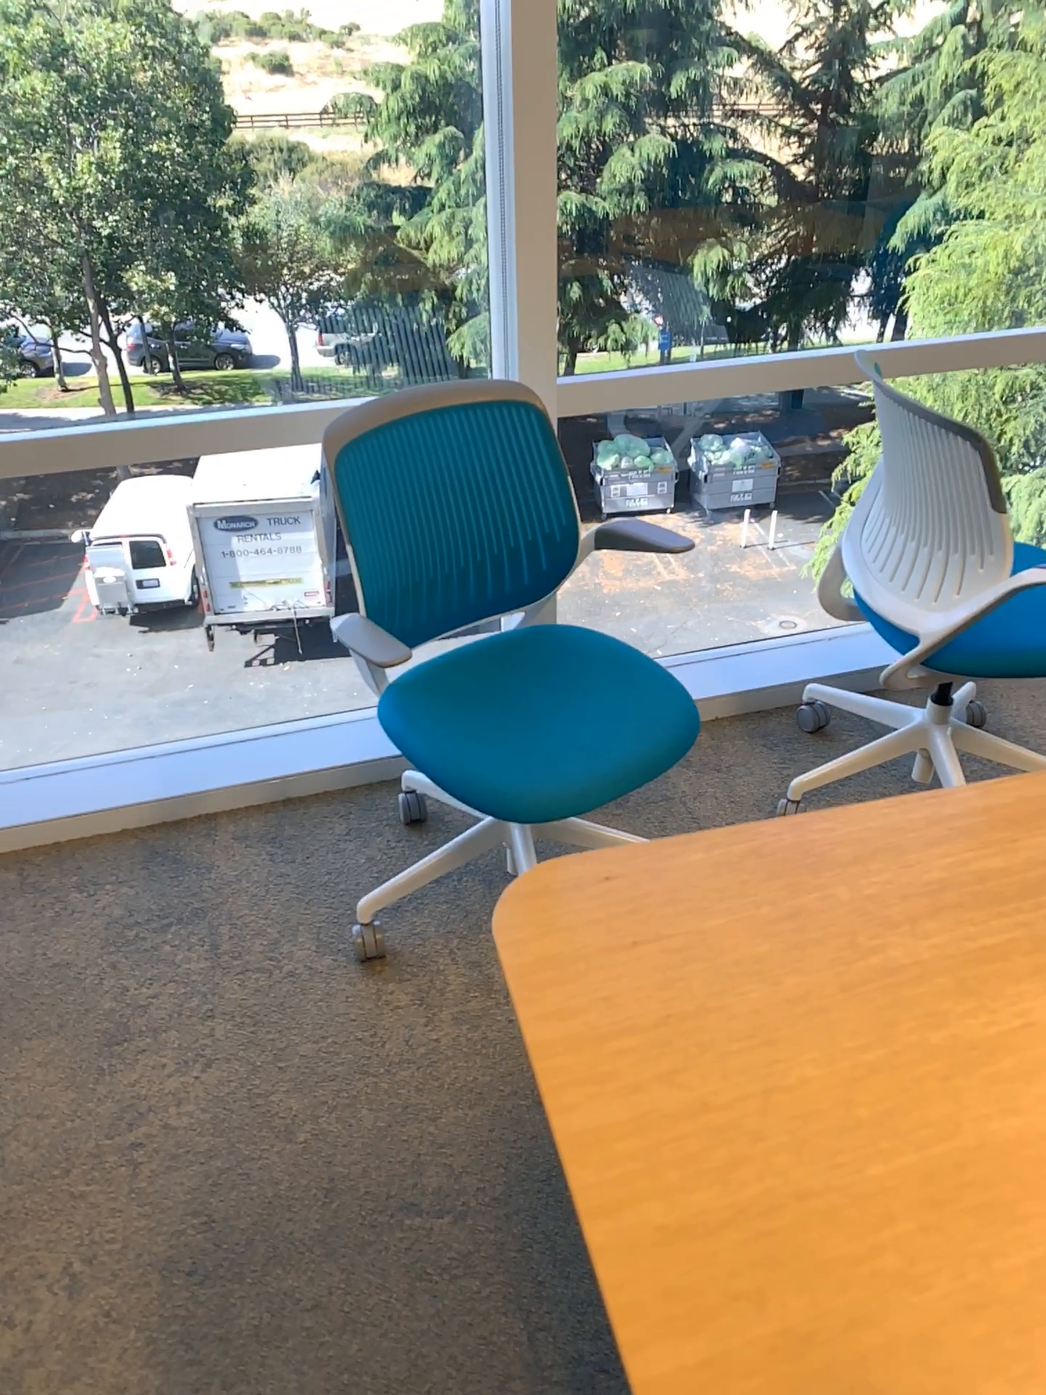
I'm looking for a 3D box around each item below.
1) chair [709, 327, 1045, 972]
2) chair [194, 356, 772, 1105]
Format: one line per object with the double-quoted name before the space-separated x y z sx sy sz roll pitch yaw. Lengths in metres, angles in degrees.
"chair" 0.855 -0.118 2.144 0.640 1.014 0.654 -11 34 -15
"chair" -0.113 0.013 2.239 0.731 1.133 0.875 -18 37 -24
